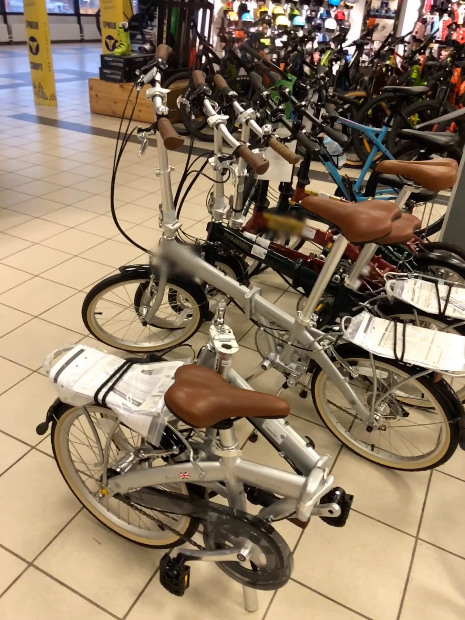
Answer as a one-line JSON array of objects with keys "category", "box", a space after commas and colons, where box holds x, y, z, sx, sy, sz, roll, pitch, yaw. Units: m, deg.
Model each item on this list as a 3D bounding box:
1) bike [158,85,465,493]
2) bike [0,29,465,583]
[{"category": "bike", "box": [0.353, -0.148, 1.770, 1.140, 1.037, 0.559, 15, 32, 20]}, {"category": "bike", "box": [0.042, -0.109, 1.523, 1.359, 1.153, 0.555, 19, 33, 22]}]
